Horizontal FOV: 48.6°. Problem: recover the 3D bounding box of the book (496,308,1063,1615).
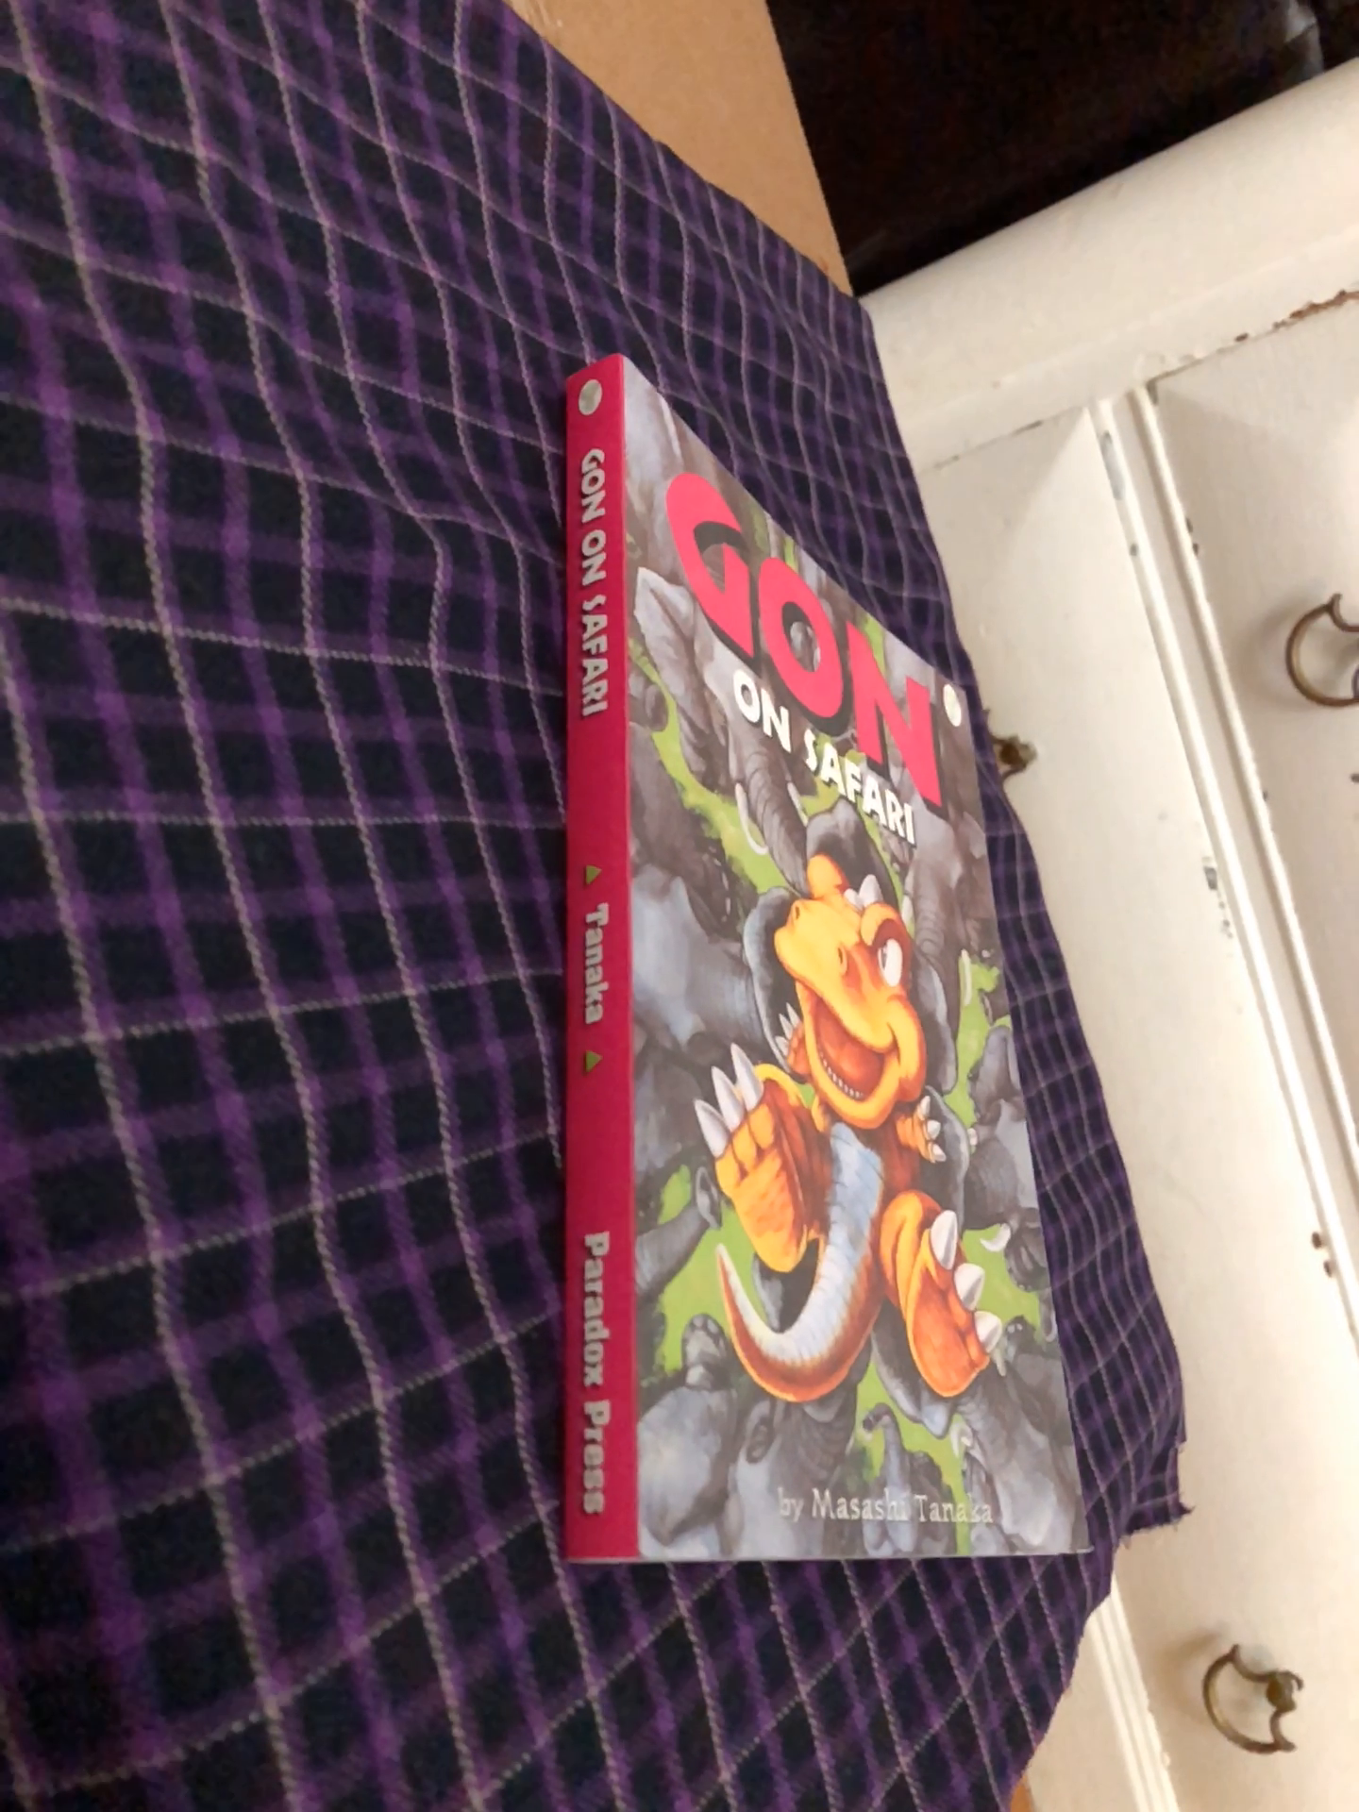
[{"bbox_3d":[0.023,0.017,0.287,0.151,0.020,0.210,32,49,-50],"label":"book"}]
